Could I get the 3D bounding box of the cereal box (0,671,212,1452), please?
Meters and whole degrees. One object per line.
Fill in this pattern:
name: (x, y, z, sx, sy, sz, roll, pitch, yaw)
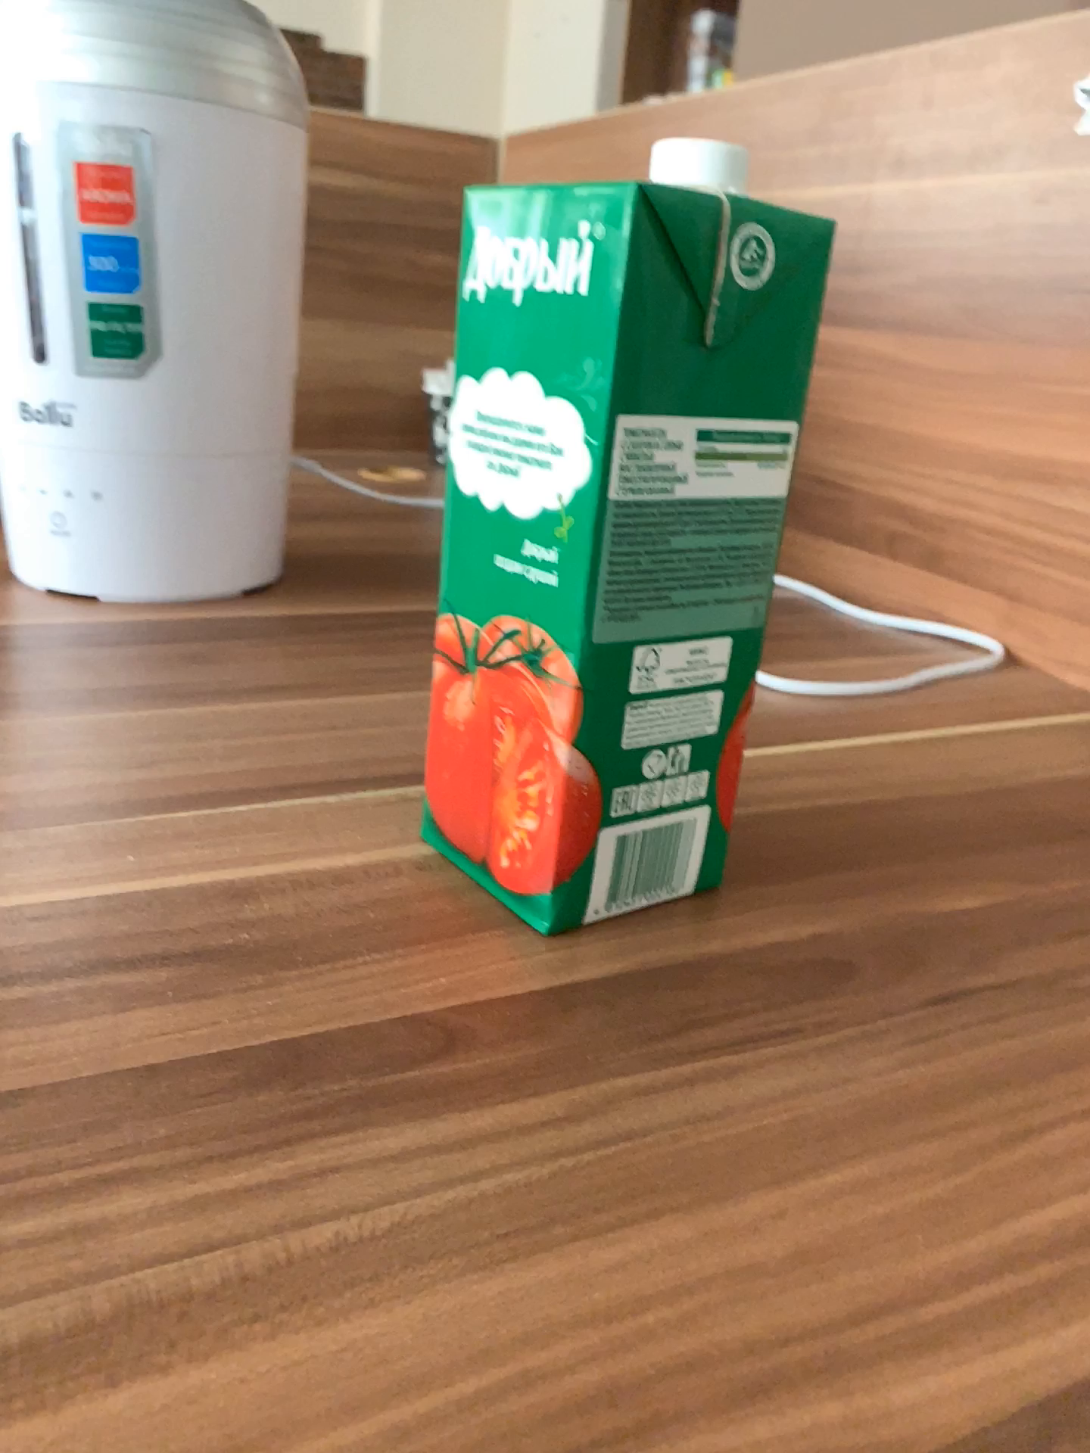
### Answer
cereal box: (-0.535, 0.517, 0.304, 0.590, 0.837, 0.612, 14, 22, 22)
